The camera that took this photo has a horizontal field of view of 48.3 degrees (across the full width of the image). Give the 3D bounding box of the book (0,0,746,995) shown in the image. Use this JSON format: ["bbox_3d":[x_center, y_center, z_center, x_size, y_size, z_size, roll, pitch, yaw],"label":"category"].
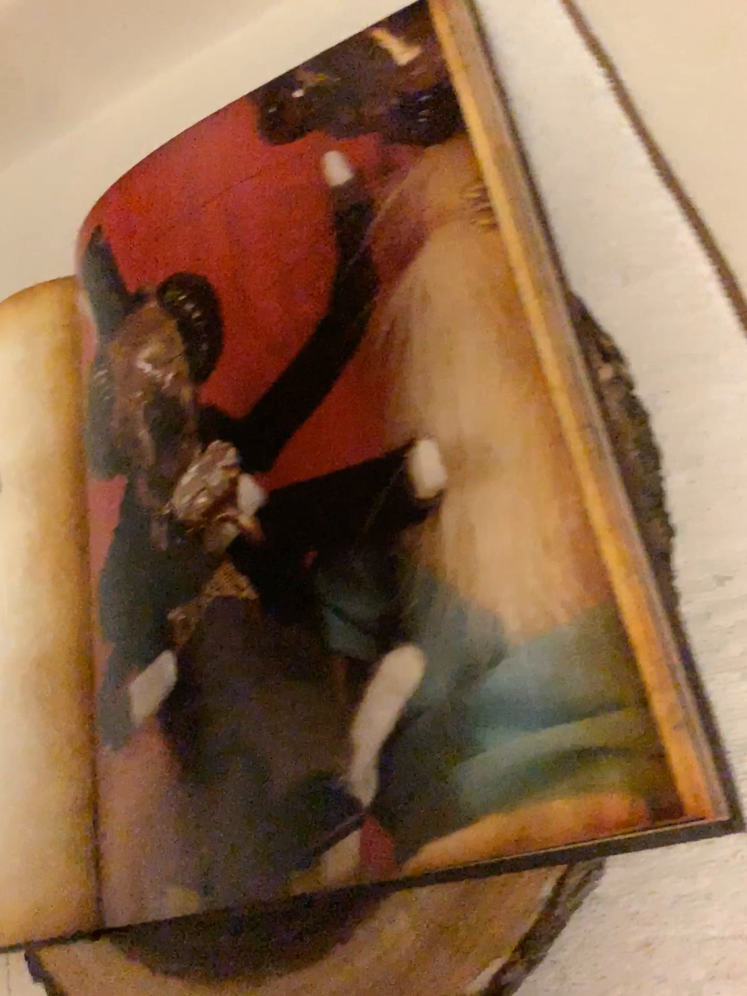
[{"bbox_3d":[-0.125,0.007,0.361,0.470,0.040,0.340,-26,62,31],"label":"book"}]
